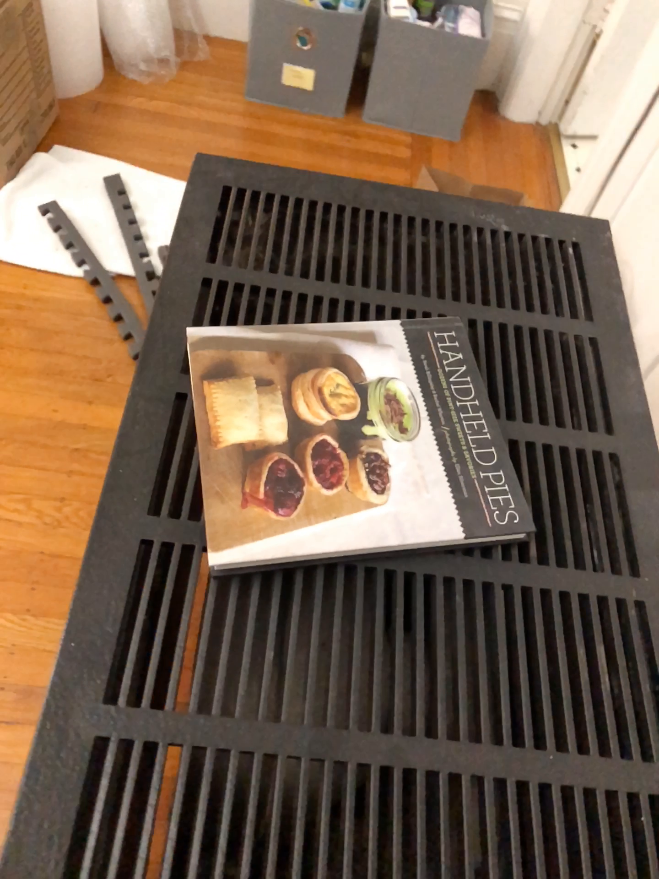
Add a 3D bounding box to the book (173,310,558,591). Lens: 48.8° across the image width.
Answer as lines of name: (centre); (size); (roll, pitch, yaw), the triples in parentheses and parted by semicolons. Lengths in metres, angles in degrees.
book: (0.016, -0.006, 0.503); (0.230, 0.020, 0.201); (-4, 57, -13)
